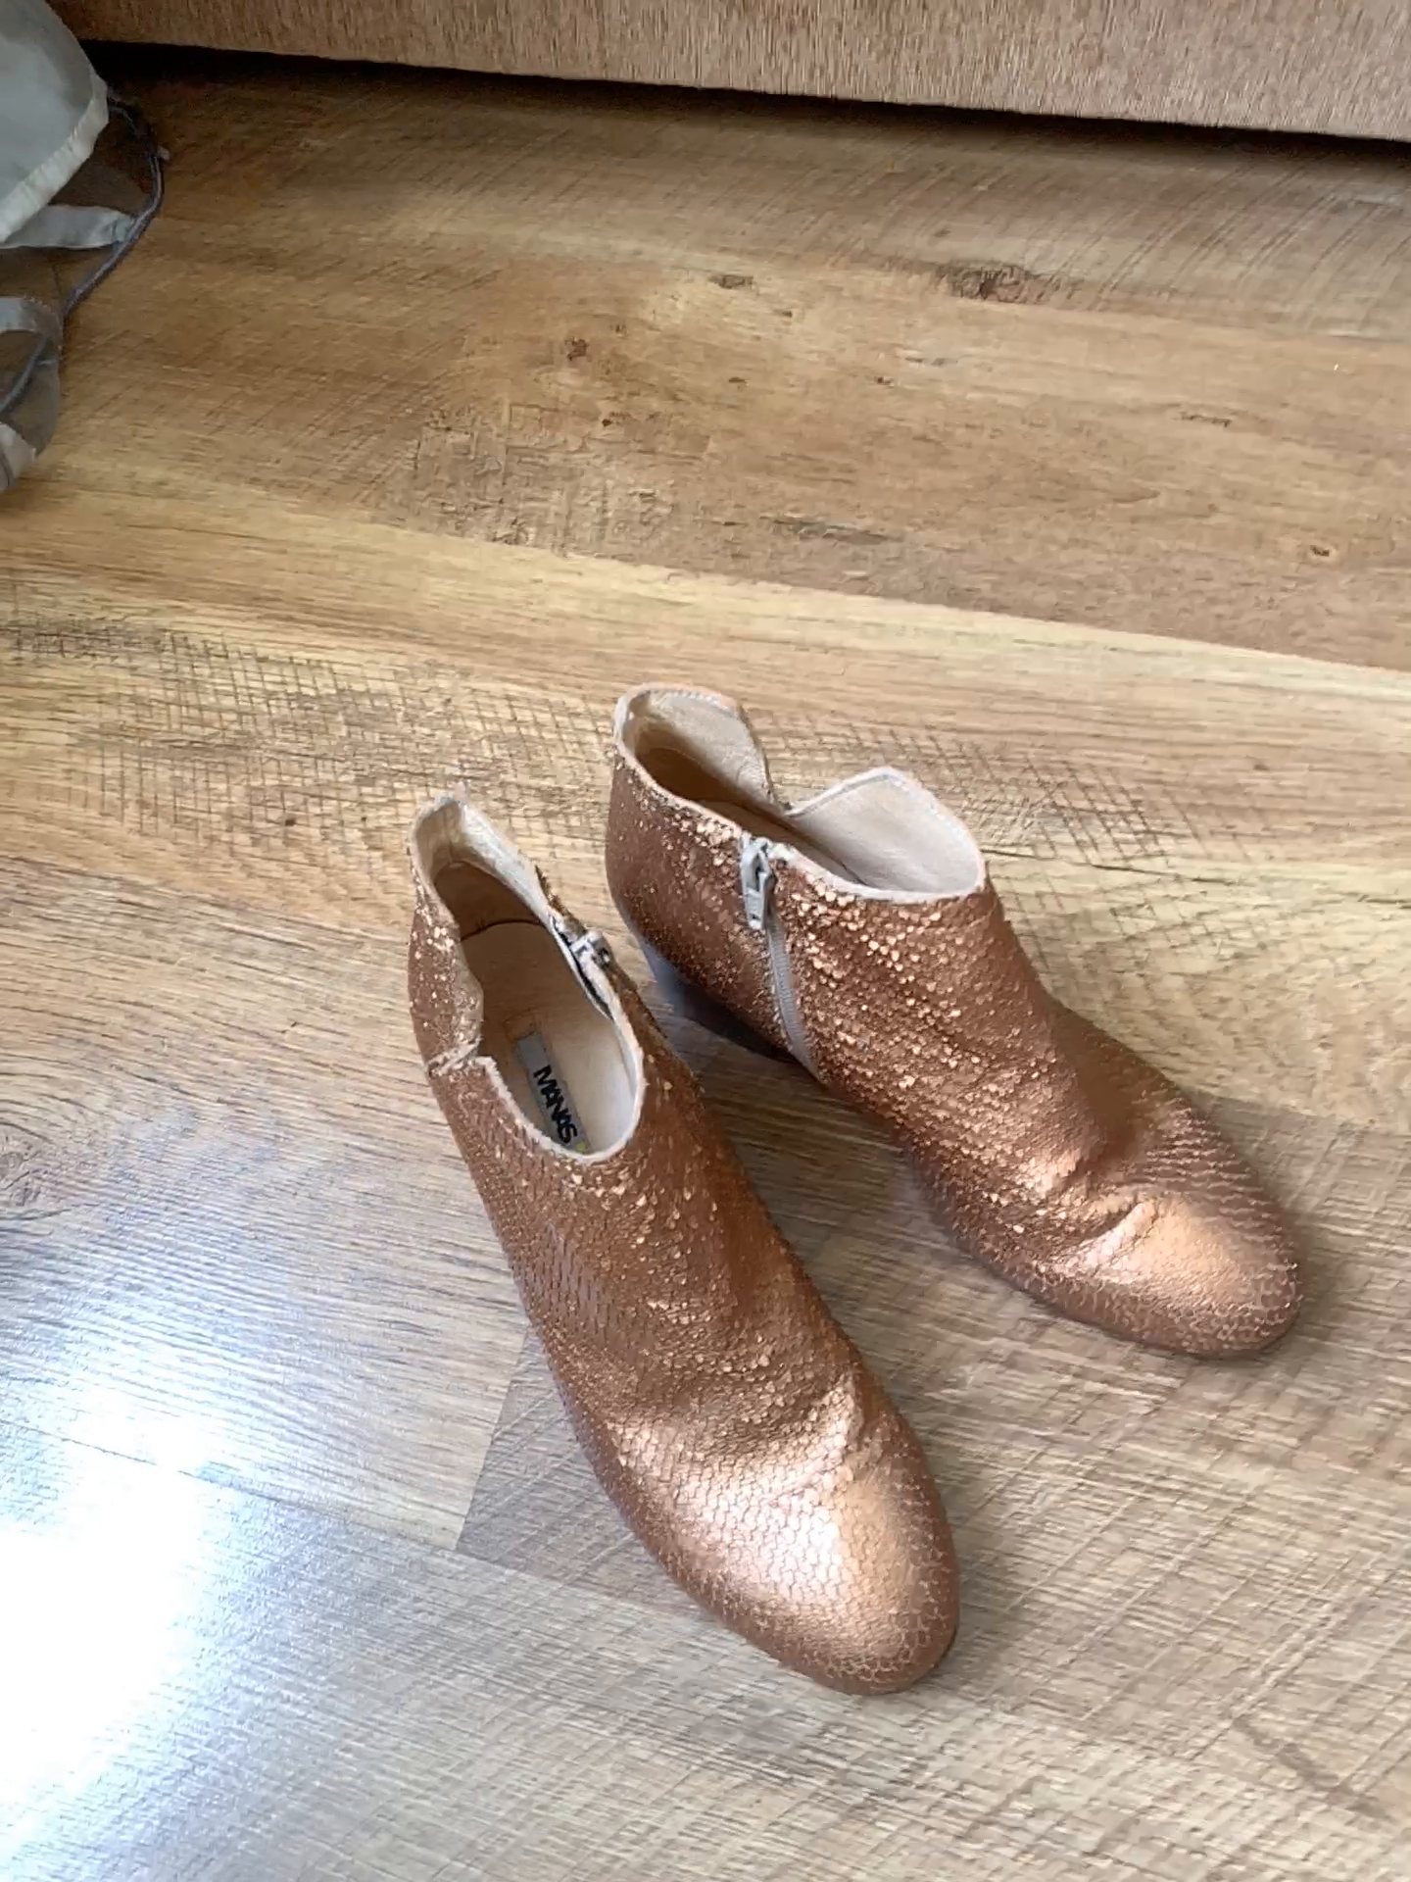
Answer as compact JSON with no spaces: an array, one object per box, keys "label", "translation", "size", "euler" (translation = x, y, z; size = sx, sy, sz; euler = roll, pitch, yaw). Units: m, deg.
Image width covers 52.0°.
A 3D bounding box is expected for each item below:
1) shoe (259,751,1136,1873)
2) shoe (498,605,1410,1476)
[{"label":"shoe","translation":[-0.010,0.085,0.350],"size":[0.080,0.130,0.221],"euler":[-28,61,-12]},{"label":"shoe","translation":[0.066,0.027,0.383],"size":[0.220,0.130,0.080],"euler":[32,67,21]}]
